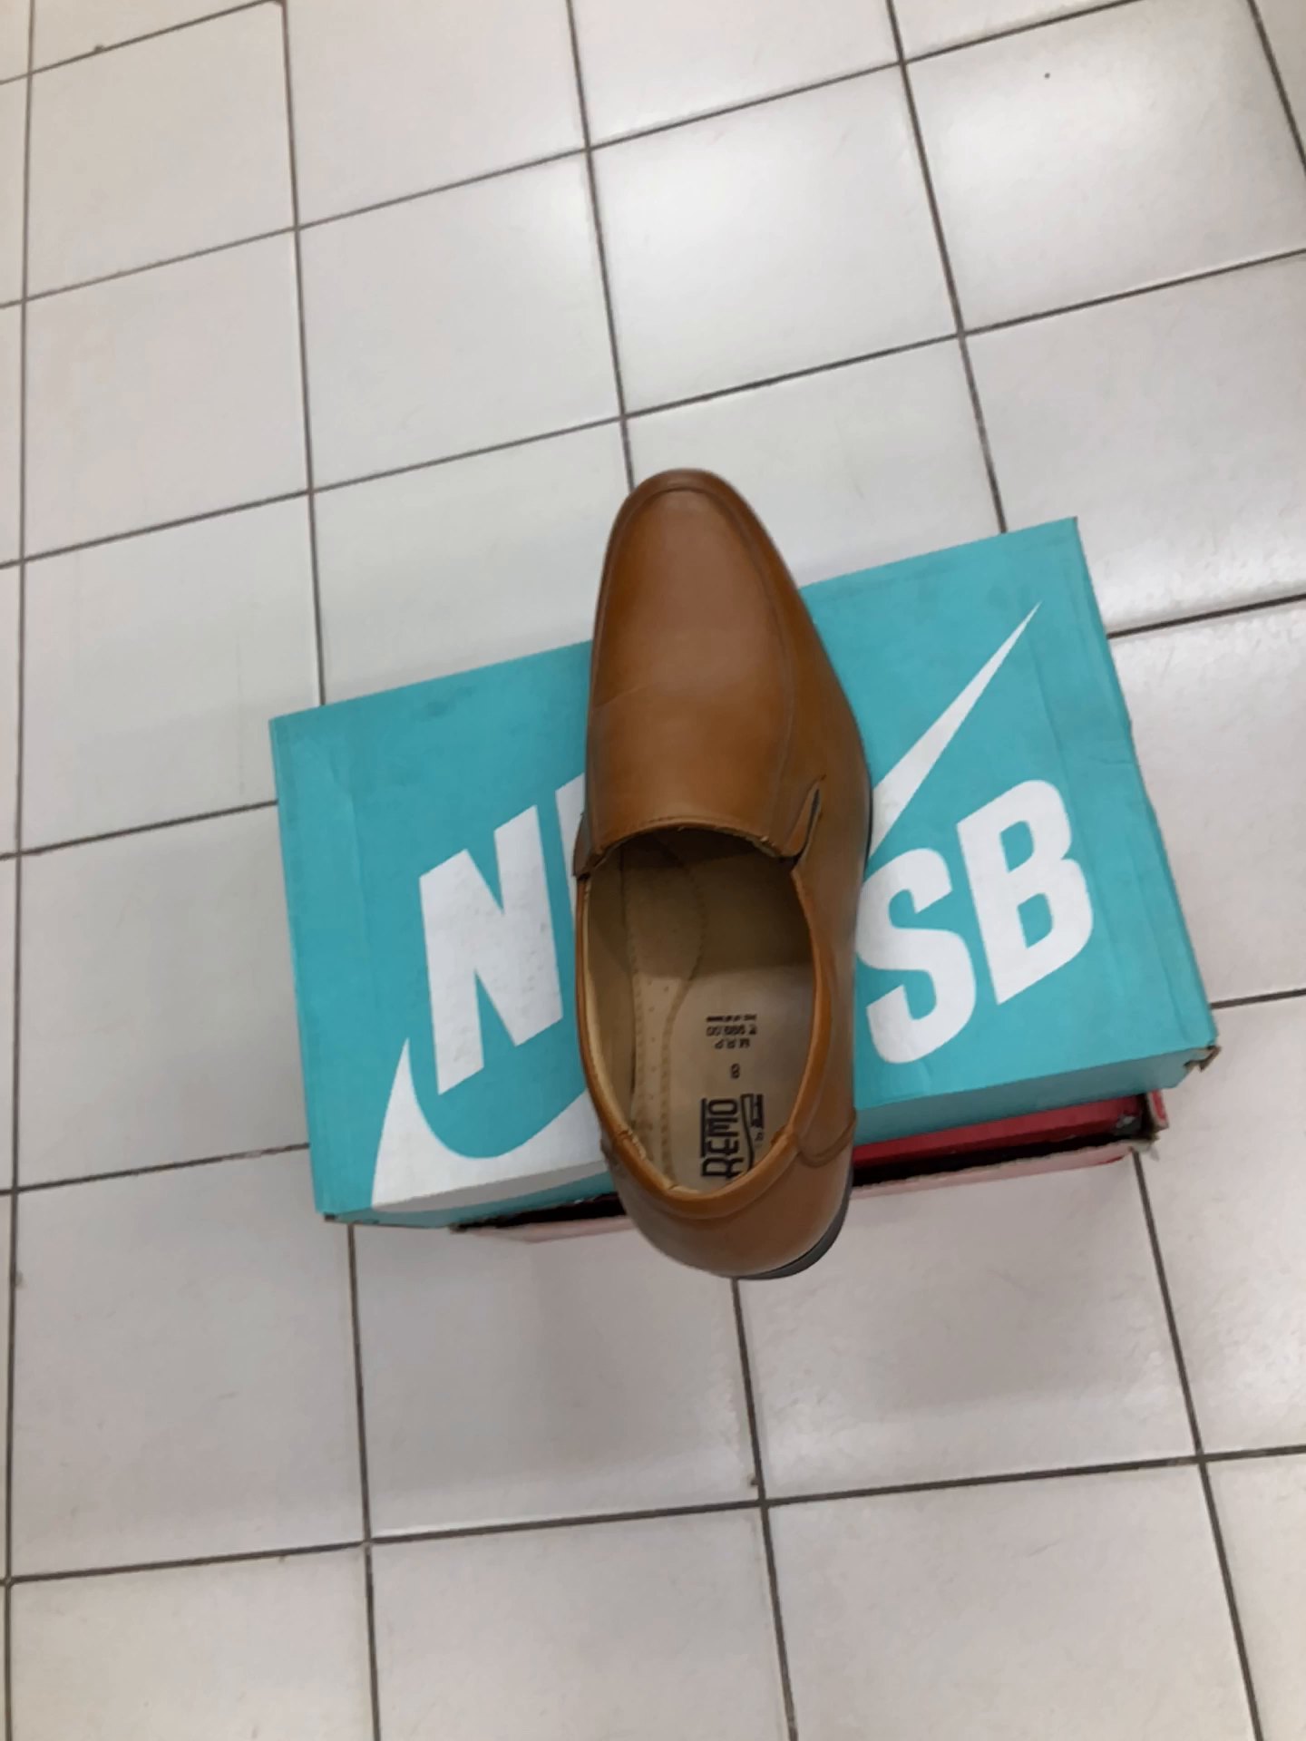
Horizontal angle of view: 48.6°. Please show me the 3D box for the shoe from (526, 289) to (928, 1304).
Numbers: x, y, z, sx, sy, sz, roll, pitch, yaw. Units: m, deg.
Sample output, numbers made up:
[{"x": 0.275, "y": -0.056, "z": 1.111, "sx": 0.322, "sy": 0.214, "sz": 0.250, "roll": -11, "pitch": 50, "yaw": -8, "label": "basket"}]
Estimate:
[{"x": 0.023, "y": -0.022, "z": 0.480, "sx": 0.090, "sy": 0.100, "sz": 0.311, "roll": -8, "pitch": 72, "yaw": 11, "label": "shoe"}]
